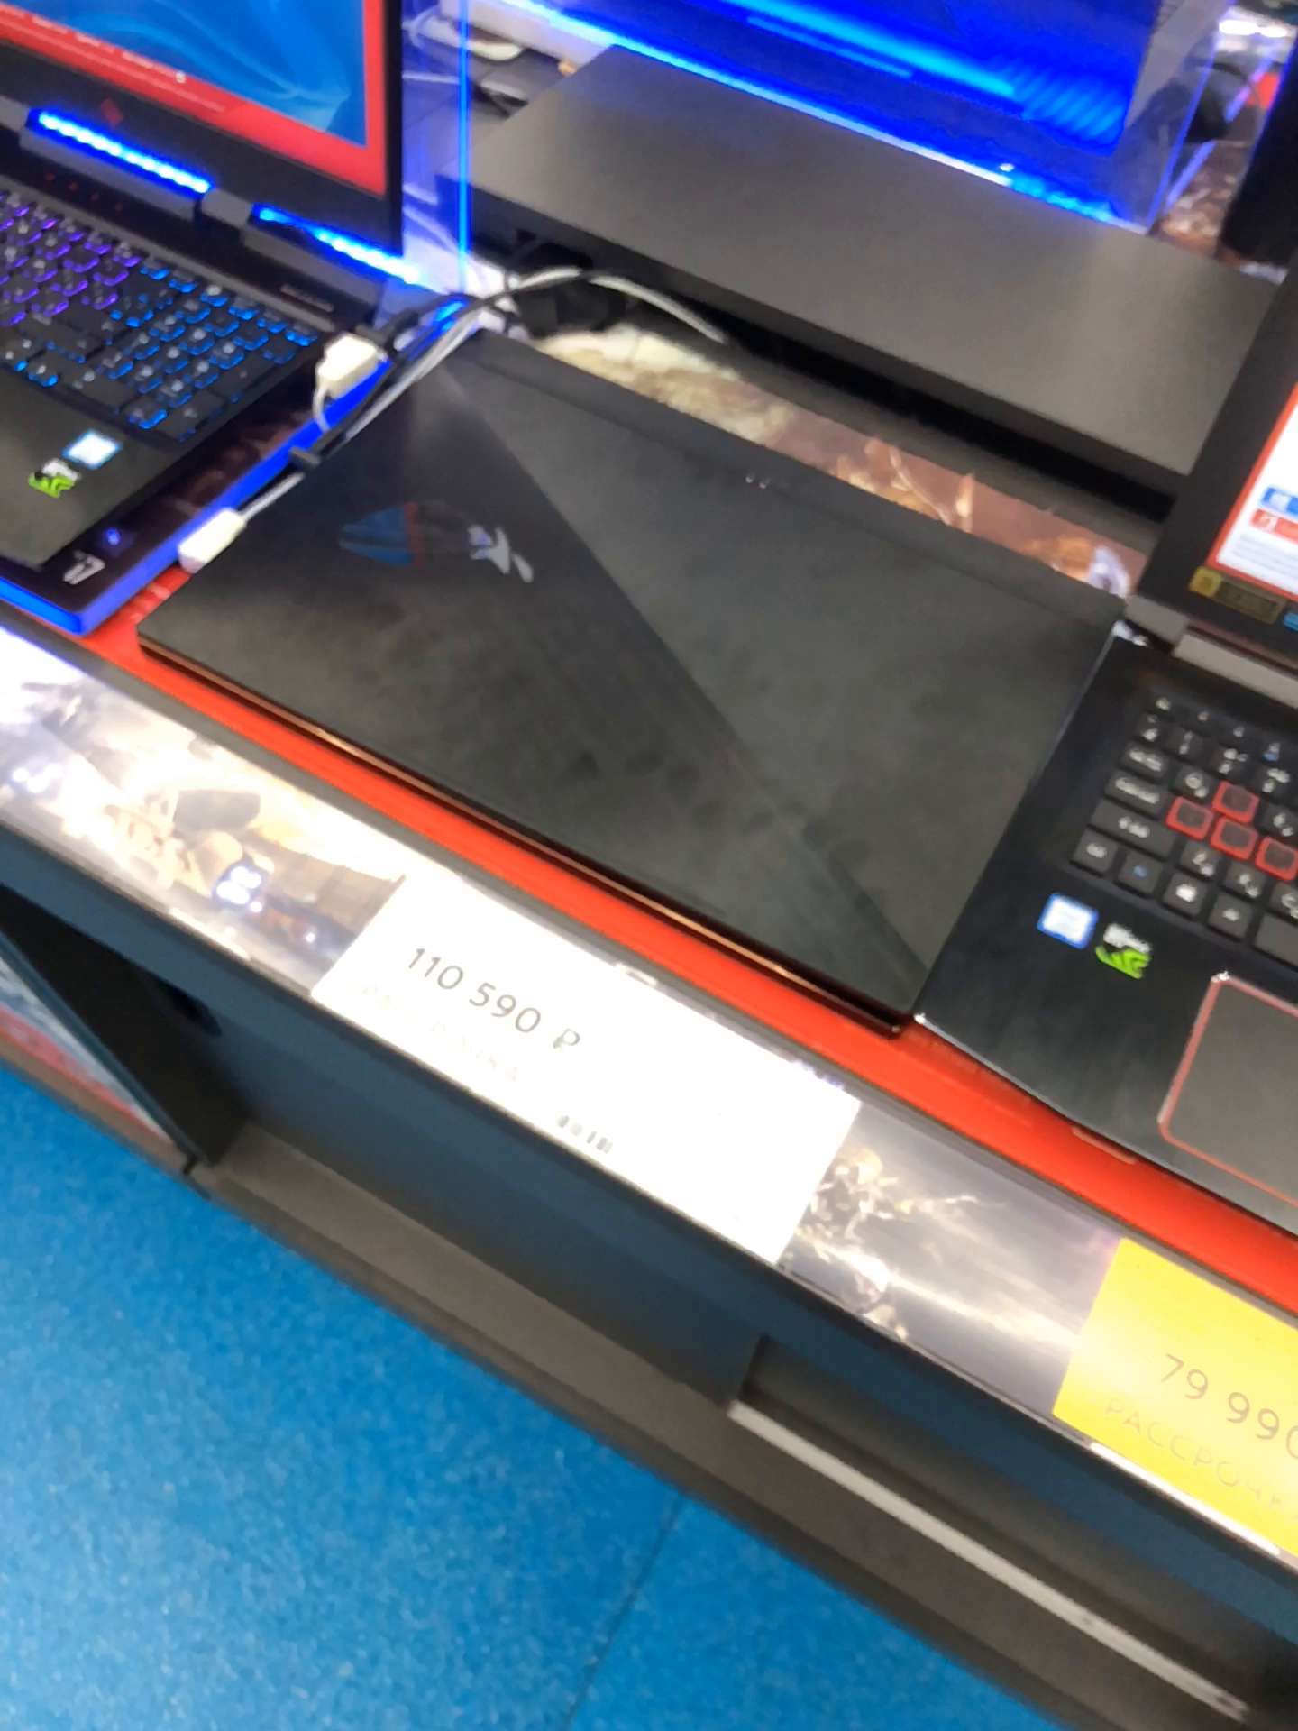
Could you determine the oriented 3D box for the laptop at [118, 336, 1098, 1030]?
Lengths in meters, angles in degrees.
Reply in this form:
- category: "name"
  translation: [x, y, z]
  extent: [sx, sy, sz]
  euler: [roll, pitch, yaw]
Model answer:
- category: "laptop"
  translation: [-0.009, -0.106, 0.636]
  extent: [0.348, 0.006, 0.255]
  euler: [27, 57, 14]
